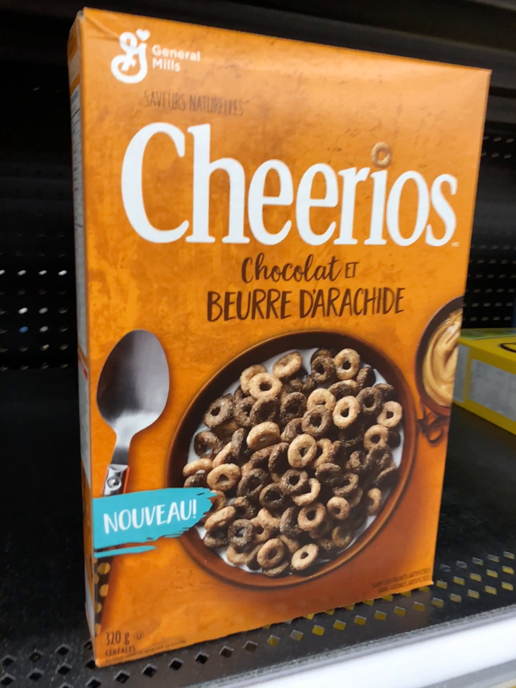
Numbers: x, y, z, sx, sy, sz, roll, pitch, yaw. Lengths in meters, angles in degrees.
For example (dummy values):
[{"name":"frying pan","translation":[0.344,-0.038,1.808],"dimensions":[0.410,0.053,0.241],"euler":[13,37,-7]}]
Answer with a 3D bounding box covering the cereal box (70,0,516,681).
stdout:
[{"name":"cereal box","translation":[0.013,0.002,0.295],"dimensions":[0.200,0.289,0.060],"euler":[-2,14,-22]}]
